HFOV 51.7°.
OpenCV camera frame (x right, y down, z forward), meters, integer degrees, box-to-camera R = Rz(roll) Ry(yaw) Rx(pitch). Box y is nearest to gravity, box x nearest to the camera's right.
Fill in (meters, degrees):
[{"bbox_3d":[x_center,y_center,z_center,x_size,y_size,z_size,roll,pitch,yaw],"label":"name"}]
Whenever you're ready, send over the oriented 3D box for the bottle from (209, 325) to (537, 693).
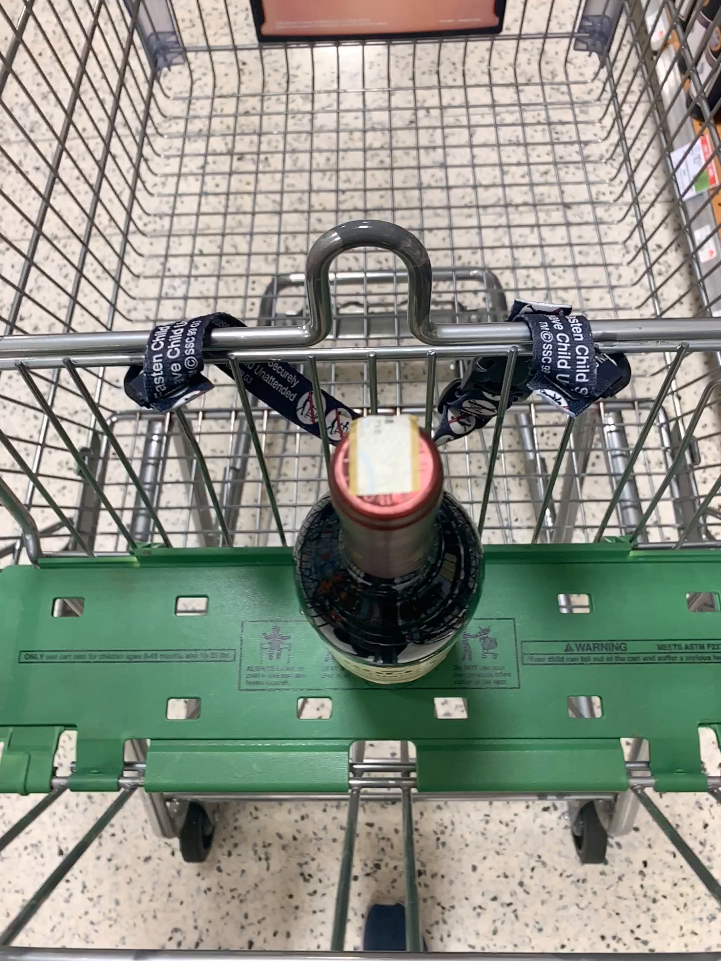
[{"bbox_3d":[0.011,0.040,0.322,0.080,0.269,0.080,-1,70,3],"label":"bottle"}]
